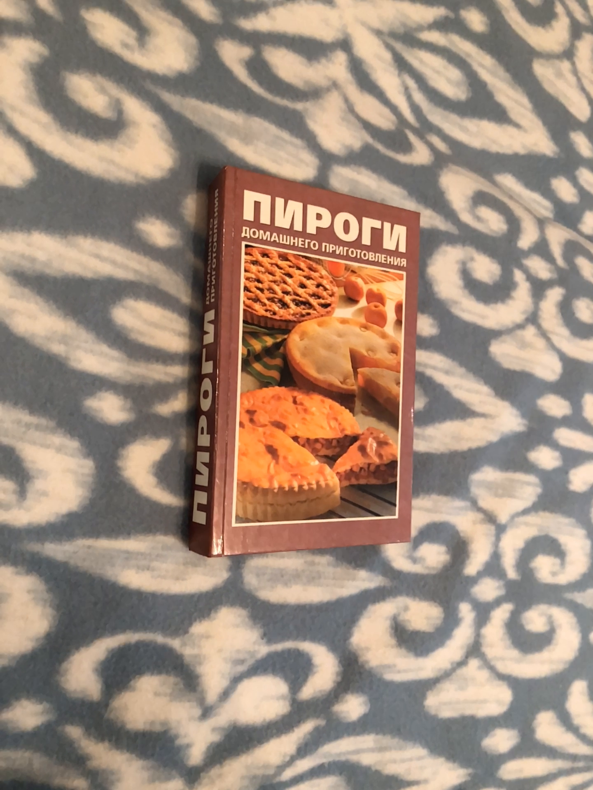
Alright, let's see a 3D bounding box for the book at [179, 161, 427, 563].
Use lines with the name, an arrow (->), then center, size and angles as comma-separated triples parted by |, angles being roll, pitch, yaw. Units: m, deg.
book -> 0.008, -0.013, 0.375 | 0.131, 0.040, 0.201 | 4, 86, -30
